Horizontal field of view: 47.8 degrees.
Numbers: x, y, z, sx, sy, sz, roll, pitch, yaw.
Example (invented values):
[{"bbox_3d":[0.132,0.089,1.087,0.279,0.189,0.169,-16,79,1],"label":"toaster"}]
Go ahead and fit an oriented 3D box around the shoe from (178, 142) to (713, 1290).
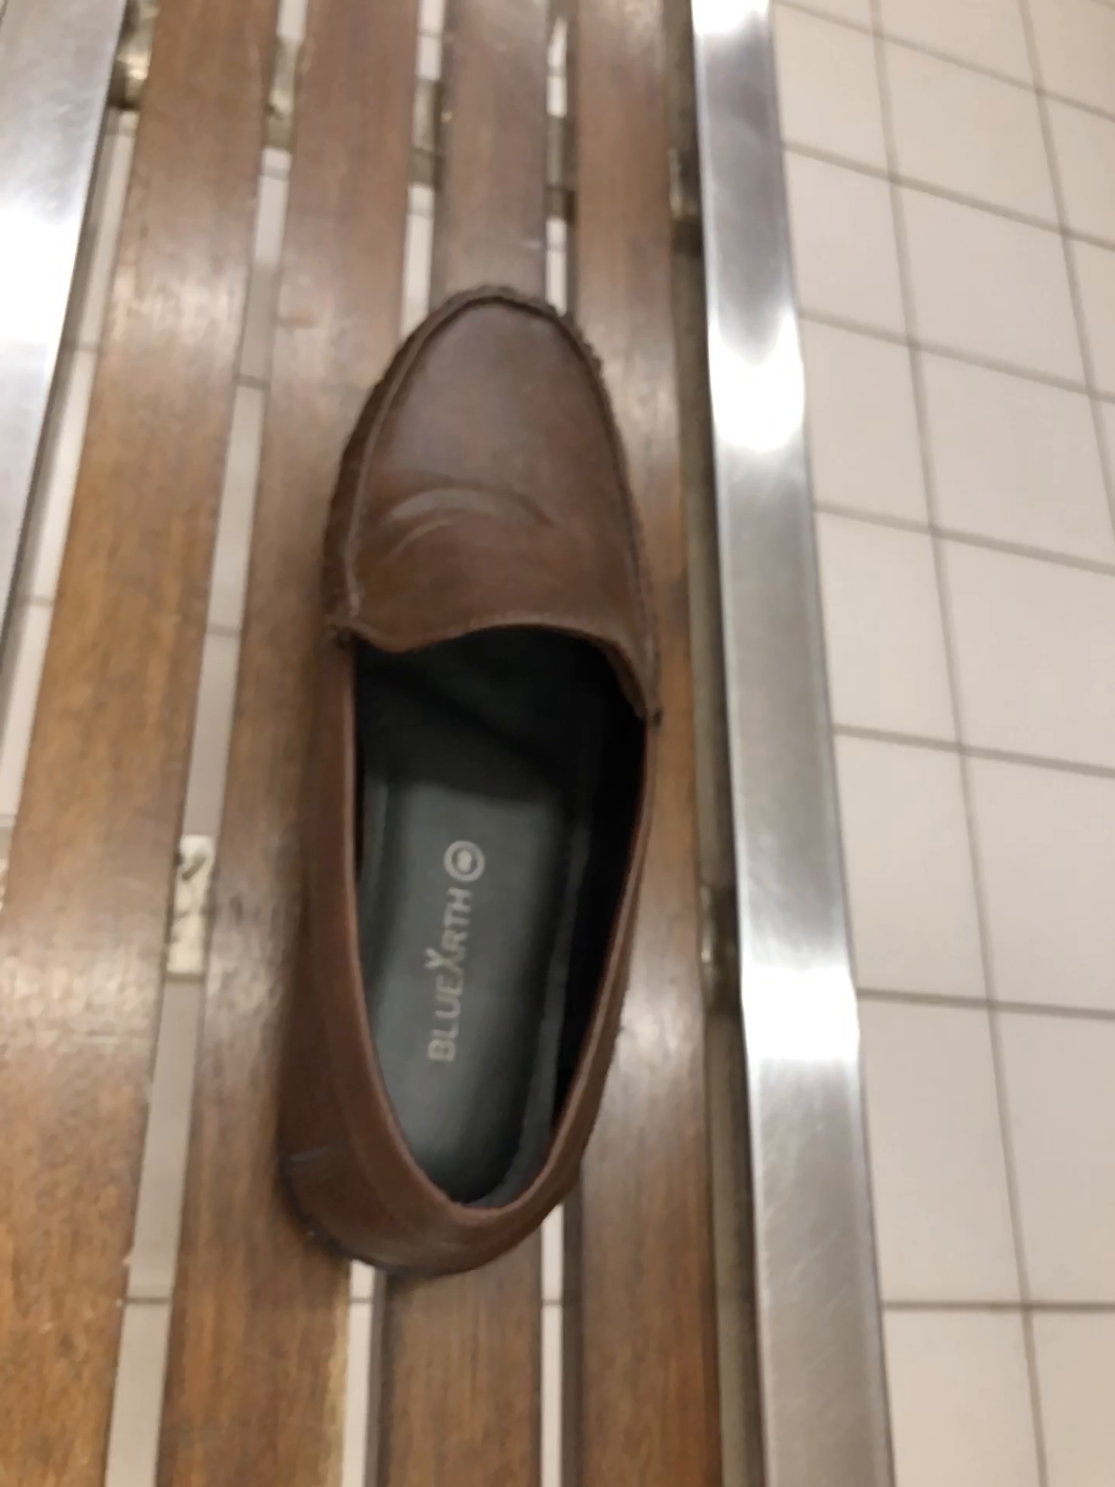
[{"bbox_3d":[-0.024,-0.011,0.337,0.090,0.090,0.281,12,65,-15],"label":"shoe"}]
